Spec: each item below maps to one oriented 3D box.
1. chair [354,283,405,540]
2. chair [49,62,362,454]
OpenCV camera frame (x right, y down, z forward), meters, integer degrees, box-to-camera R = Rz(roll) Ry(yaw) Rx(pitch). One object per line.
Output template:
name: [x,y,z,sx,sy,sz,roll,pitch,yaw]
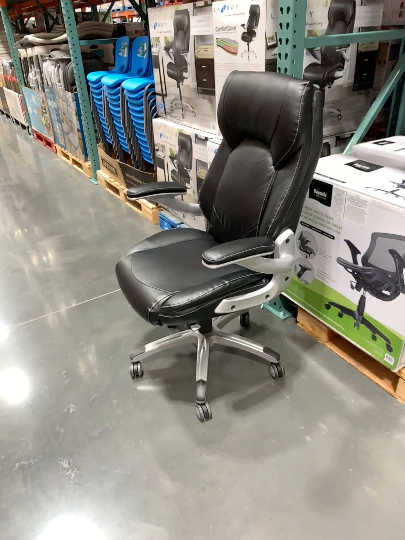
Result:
chair: [0.691,0.658,0.343,0.786,0.919,0.640,19,37,33]
chair: [-0.020,-0.110,1.561,0.704,1.128,0.732,-17,33,-22]
